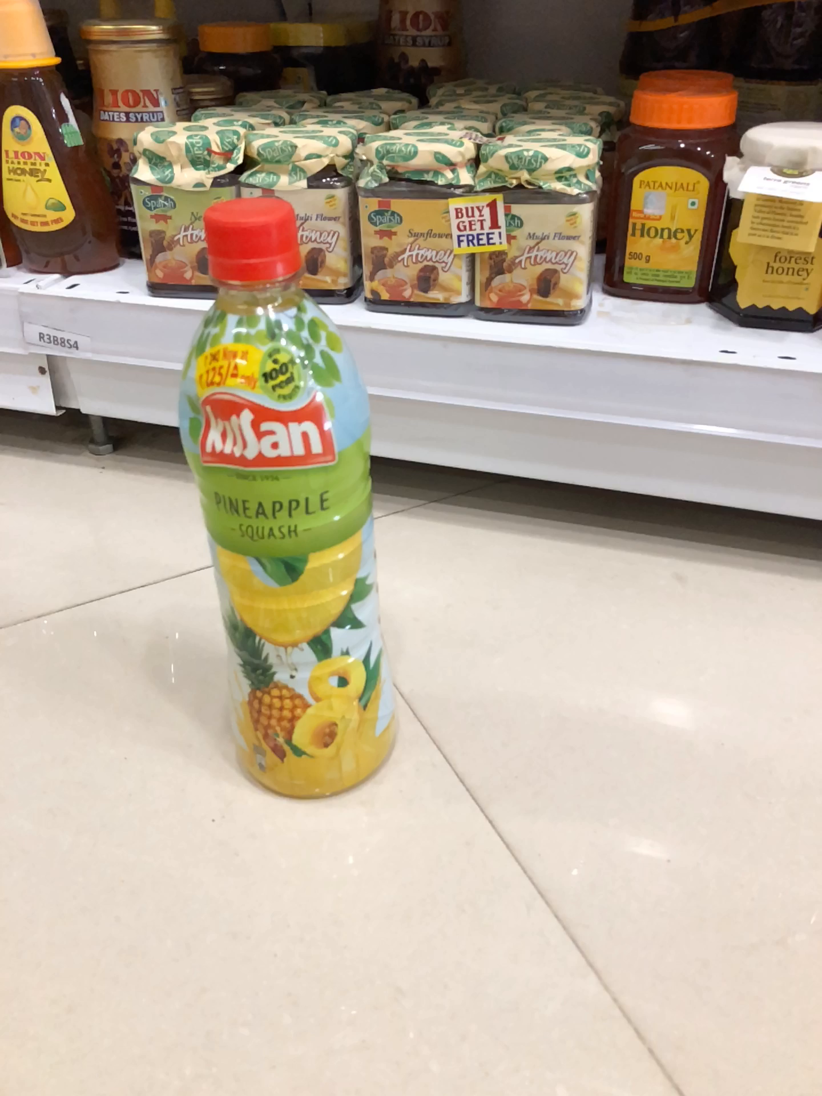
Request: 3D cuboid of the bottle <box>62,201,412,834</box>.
[{"bbox_3d":[-0.049,-0.002,0.344,0.080,0.228,0.081,-1,34,1],"label":"bottle"}]
